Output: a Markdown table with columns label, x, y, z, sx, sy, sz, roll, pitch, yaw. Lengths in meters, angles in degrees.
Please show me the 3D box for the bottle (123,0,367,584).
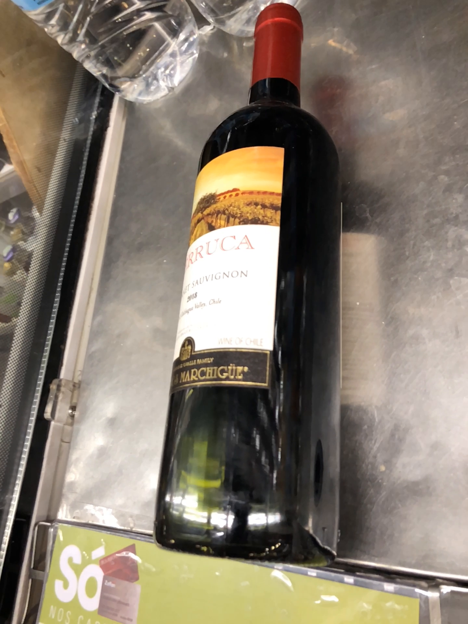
| label | x | y | z | sx | sy | sz | roll | pitch | yaw |
| --- | --- | --- | --- | --- | --- | --- | --- | --- | --- |
| bottle | 0.012 | -0.049 | 0.253 | 0.080 | 0.050 | 0.311 | -11 | 65 | 35 |
